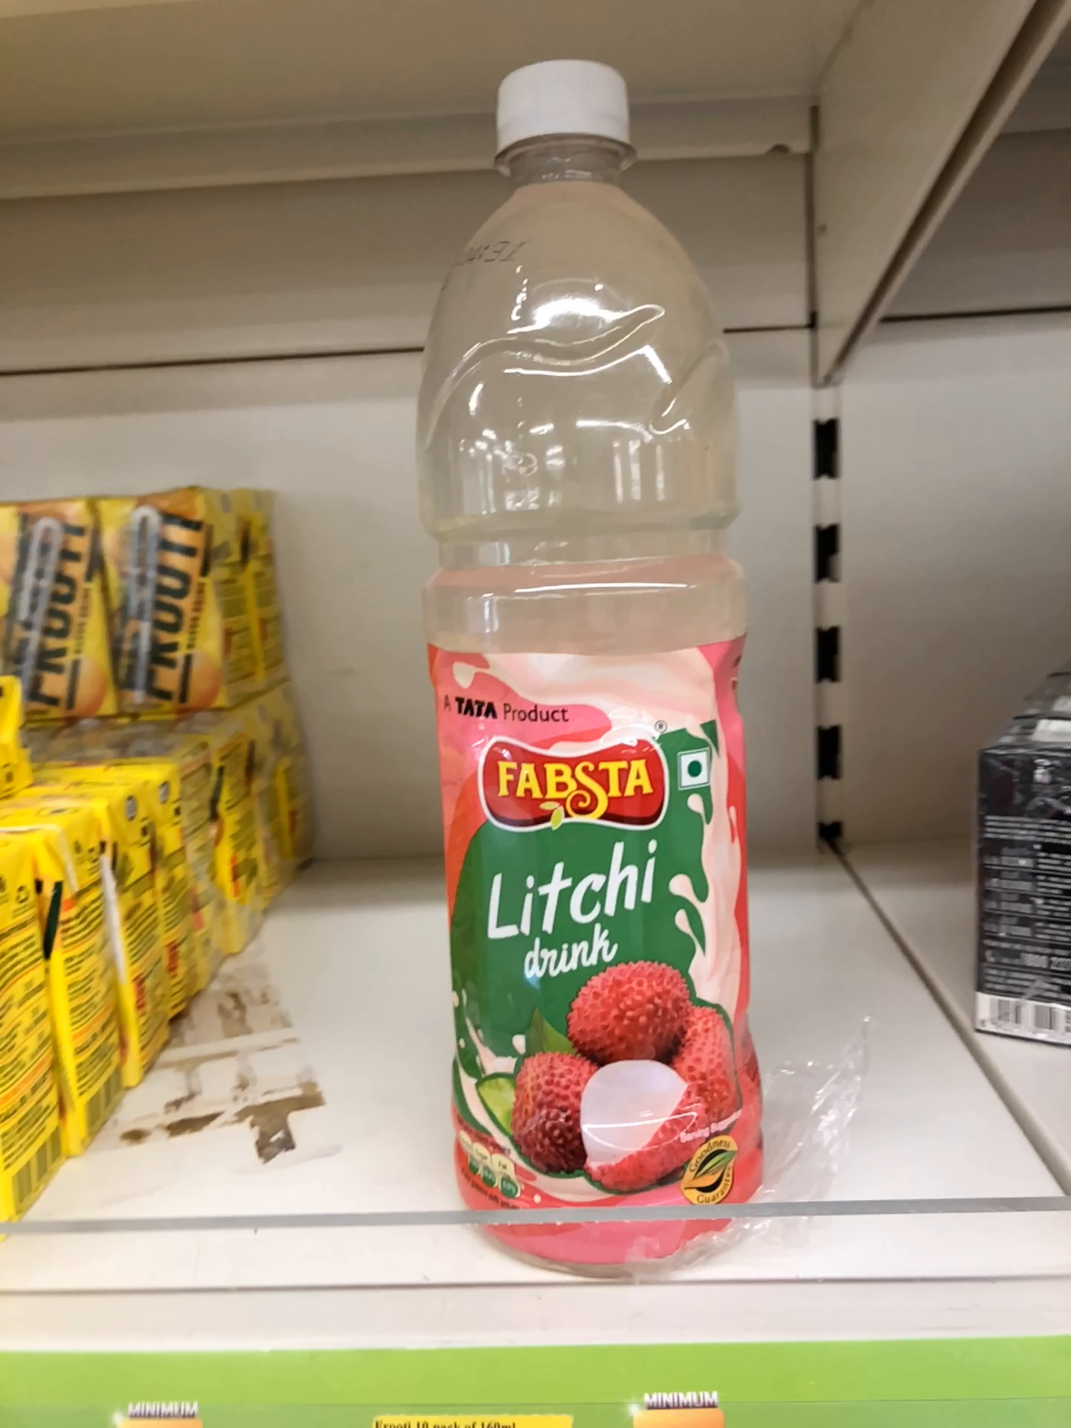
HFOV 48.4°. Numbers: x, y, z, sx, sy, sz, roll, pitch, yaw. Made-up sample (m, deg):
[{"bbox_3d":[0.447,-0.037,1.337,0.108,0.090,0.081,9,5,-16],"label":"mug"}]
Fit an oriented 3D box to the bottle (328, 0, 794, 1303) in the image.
[{"bbox_3d":[0.015,-0.010,0.279,0.080,0.269,0.070,-1,11,14],"label":"bottle"}]
